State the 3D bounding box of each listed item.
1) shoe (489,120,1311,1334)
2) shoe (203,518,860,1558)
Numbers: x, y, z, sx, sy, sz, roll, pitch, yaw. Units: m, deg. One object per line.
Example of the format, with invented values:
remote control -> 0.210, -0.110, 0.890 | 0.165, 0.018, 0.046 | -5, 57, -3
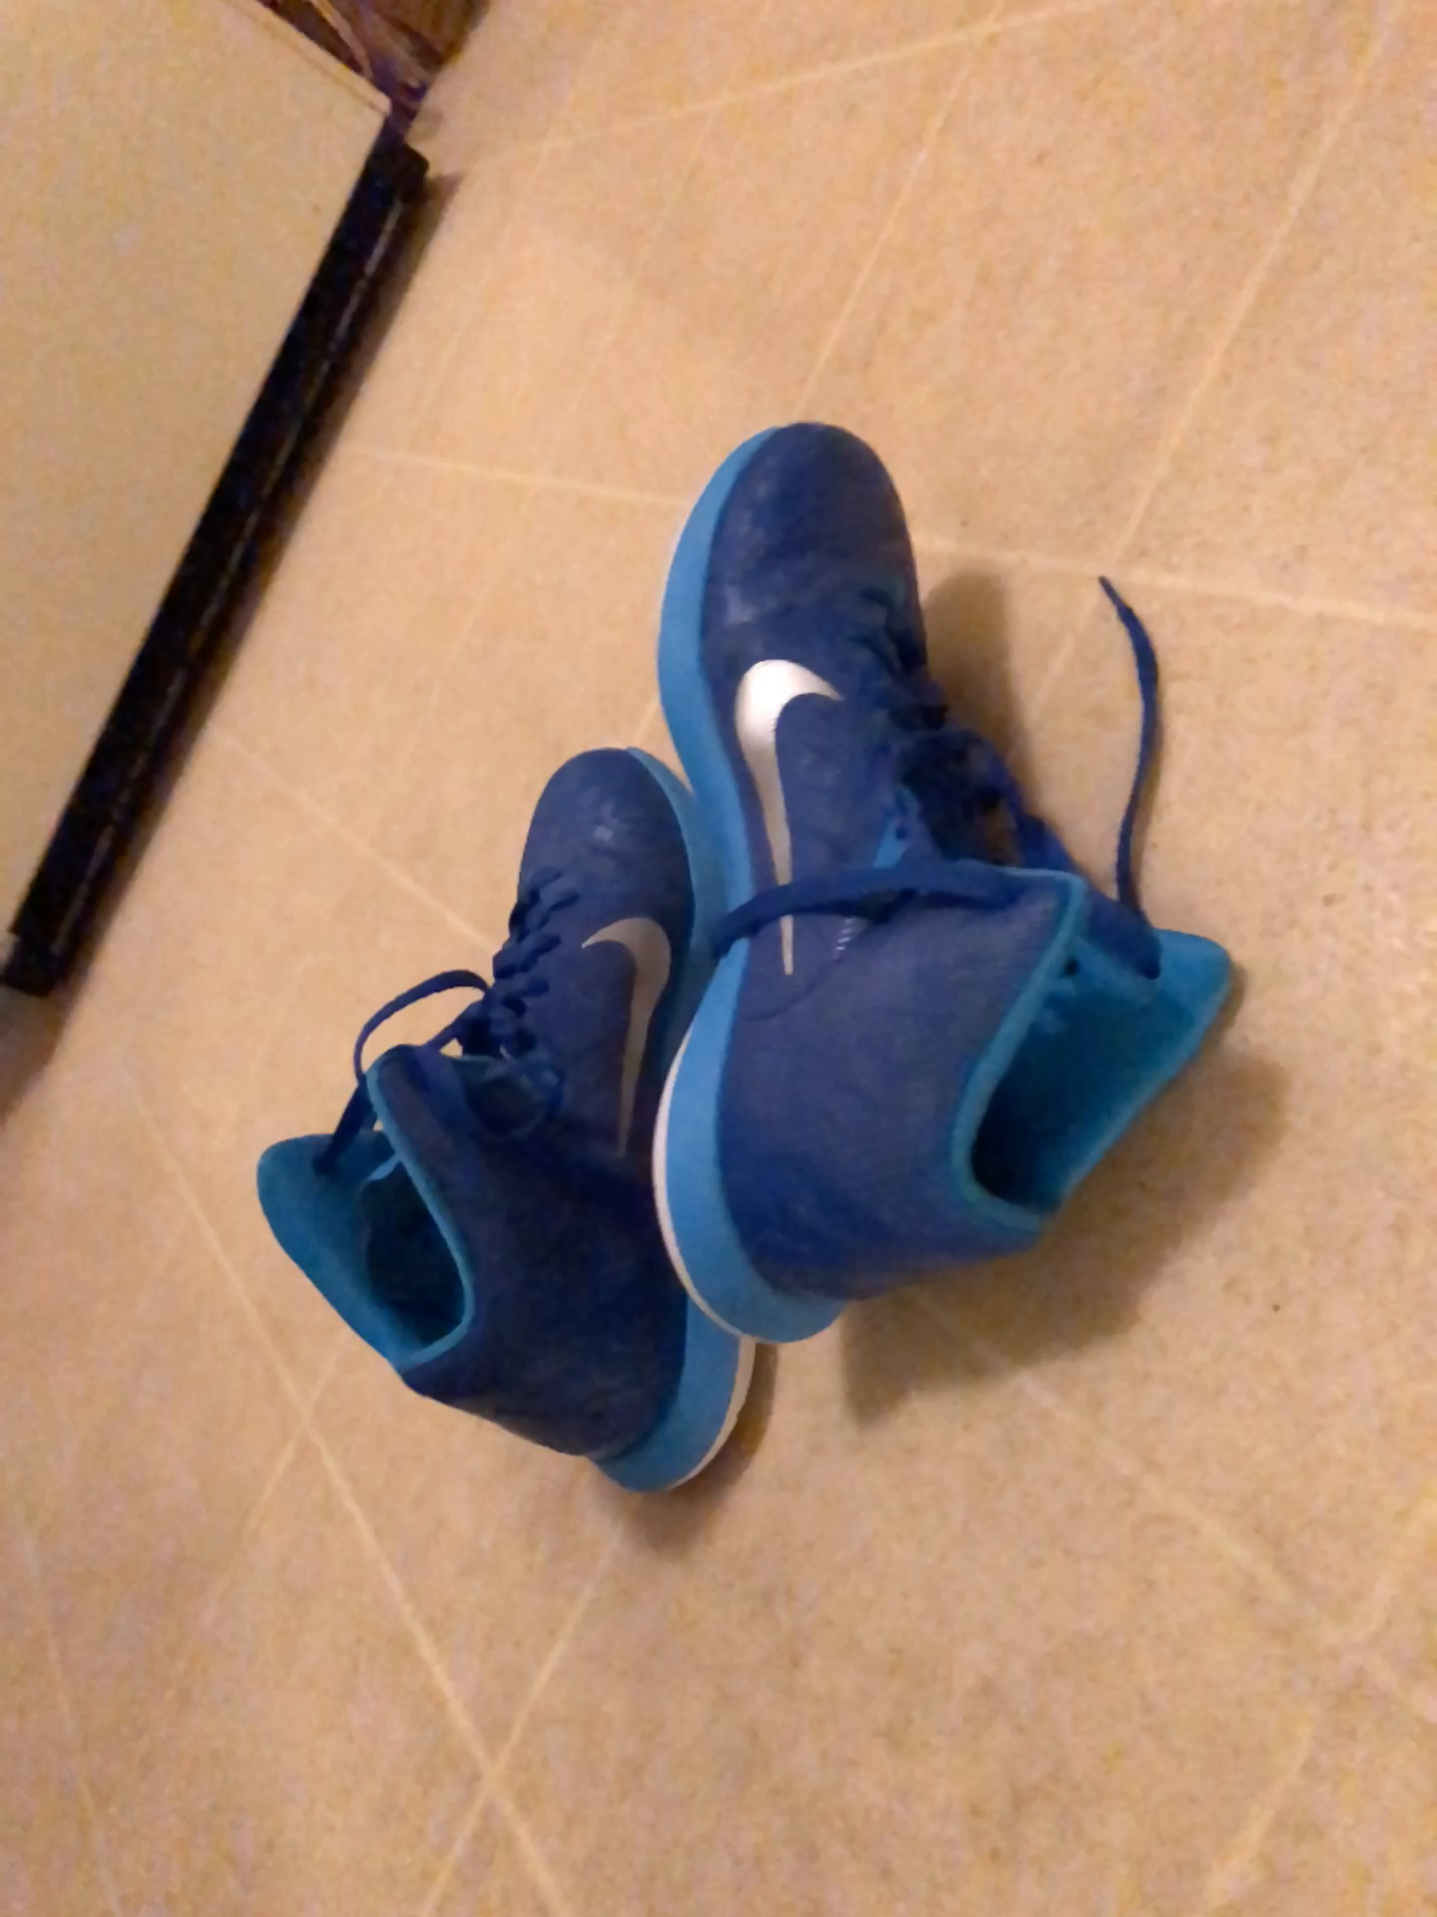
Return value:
shoe -> 0.048, -0.056, 0.449 | 0.160, 0.119, 0.282 | -20, 55, 39
shoe -> -0.067, 0.022, 0.545 | 0.120, 0.144, 0.311 | -37, 44, 35
